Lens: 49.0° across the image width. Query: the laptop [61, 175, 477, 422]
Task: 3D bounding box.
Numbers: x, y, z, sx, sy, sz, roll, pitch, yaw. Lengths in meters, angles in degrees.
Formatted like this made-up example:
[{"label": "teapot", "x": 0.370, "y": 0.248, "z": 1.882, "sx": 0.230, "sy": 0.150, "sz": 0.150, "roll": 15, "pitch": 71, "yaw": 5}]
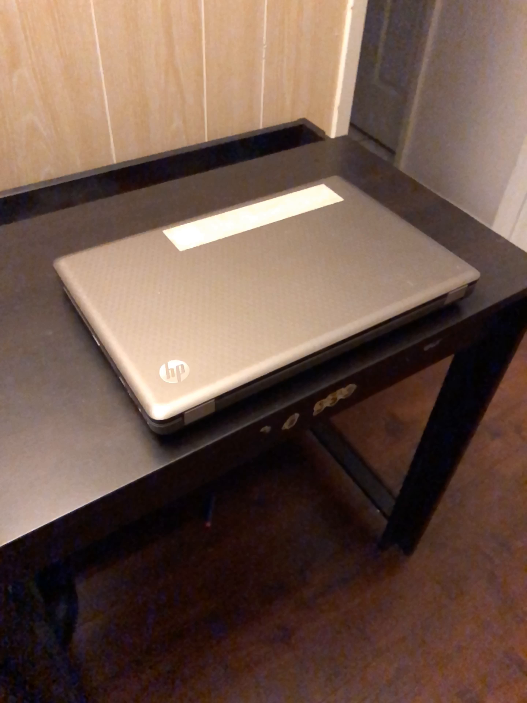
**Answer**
[{"label": "laptop", "x": 0.007, "y": -0.084, "z": 0.592, "sx": 0.357, "sy": 0.001, "sz": 0.238, "roll": -23, "pitch": 51, "yaw": -24}]
